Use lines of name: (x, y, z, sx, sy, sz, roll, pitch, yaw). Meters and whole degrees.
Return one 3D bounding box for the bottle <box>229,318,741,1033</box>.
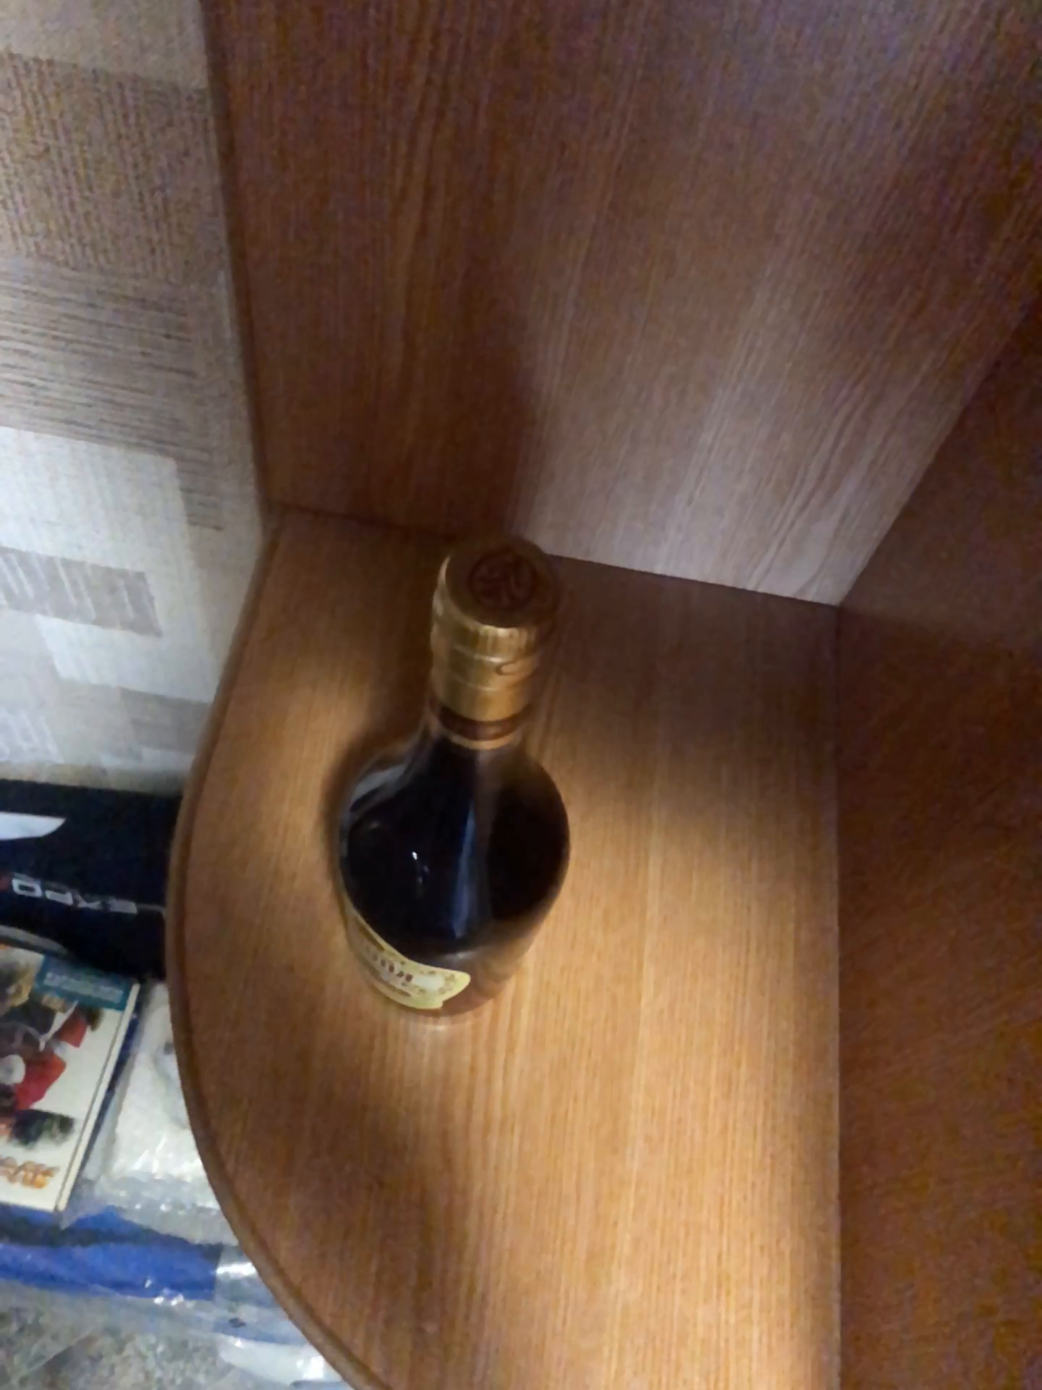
bottle: (-0.023, 0.016, 0.371, 0.080, 0.245, 0.090, -35, 70, -25)
